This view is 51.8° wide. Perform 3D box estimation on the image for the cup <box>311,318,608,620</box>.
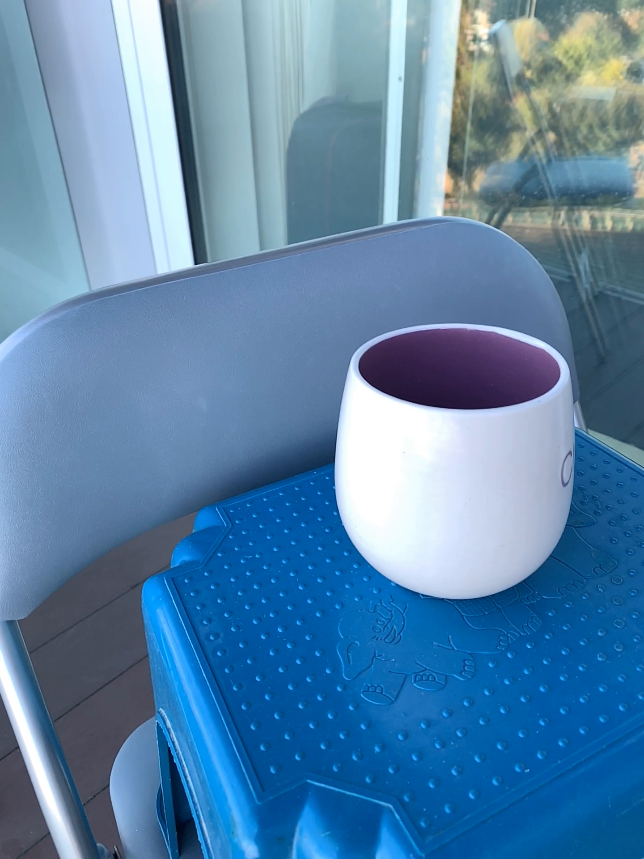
[{"bbox_3d":[0.051,0.012,0.306,0.104,0.090,0.111,-1,31,0],"label":"cup"}]
